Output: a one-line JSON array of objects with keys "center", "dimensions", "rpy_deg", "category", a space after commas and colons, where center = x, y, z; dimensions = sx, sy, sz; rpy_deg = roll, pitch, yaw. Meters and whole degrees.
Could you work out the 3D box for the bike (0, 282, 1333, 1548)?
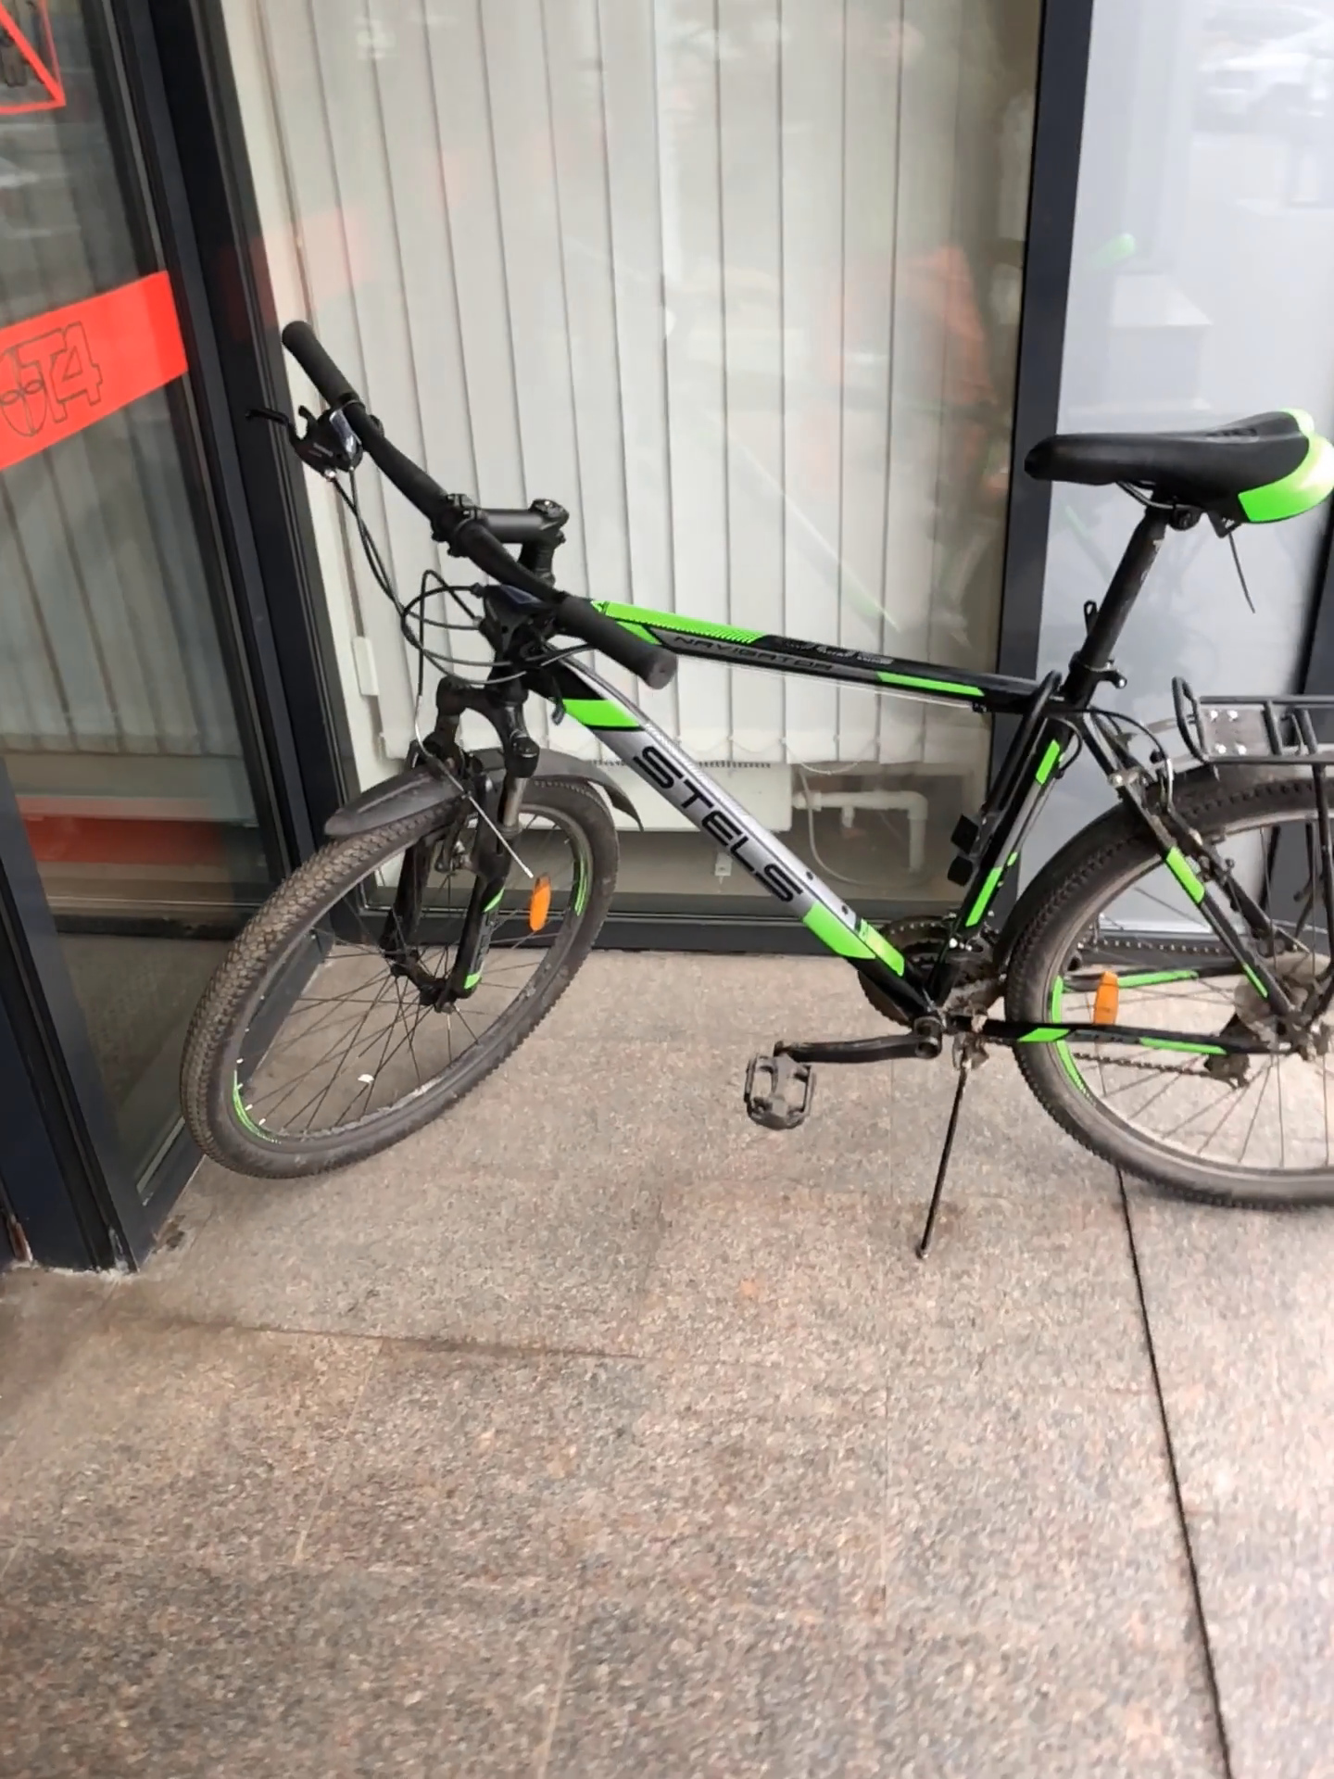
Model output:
[{"center": [0.240, 0.030, 1.500], "dimensions": [1.544, 1.051, 0.632], "rpy_deg": [-2, 30, 2], "category": "bike"}]
